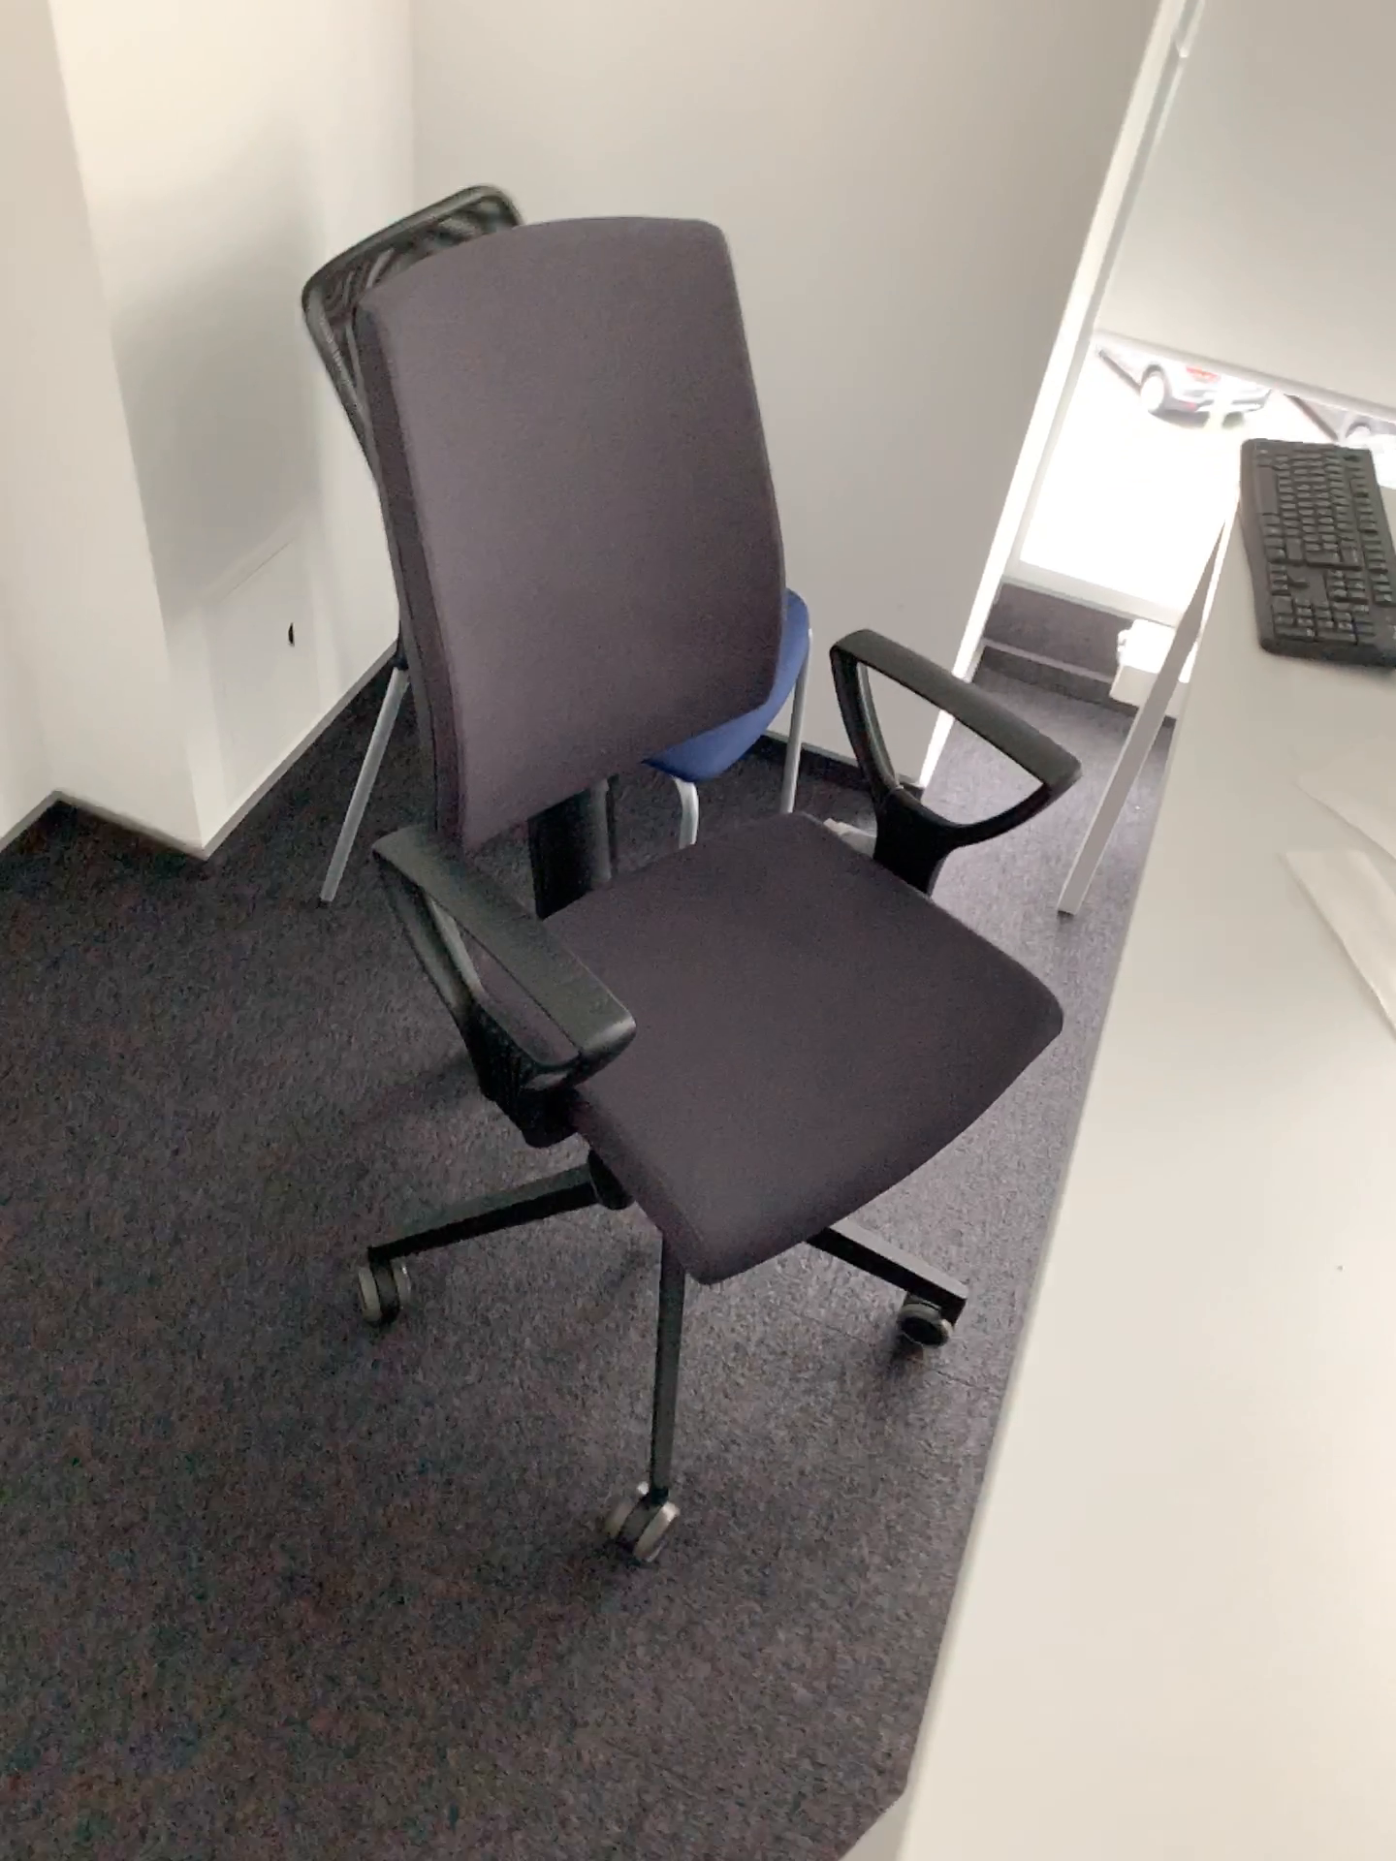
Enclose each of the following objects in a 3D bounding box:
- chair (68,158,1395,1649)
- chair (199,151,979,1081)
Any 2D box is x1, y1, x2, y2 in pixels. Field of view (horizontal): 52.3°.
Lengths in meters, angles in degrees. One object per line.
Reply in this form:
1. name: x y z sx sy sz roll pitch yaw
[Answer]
1. chair: 0.007 -0.013 1.326 0.692 1.005 0.681 -31 59 -33
2. chair: -0.125 -0.407 1.842 0.610 0.806 0.673 23 47 12
